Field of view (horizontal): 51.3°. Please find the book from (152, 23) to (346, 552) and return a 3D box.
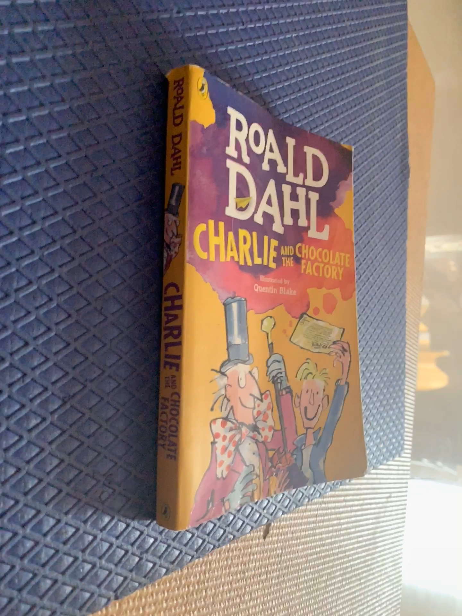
[{"bbox_3d":[0.020,-0.008,0.252,0.141,0.020,0.210,5,85,-52],"label":"book"}]
